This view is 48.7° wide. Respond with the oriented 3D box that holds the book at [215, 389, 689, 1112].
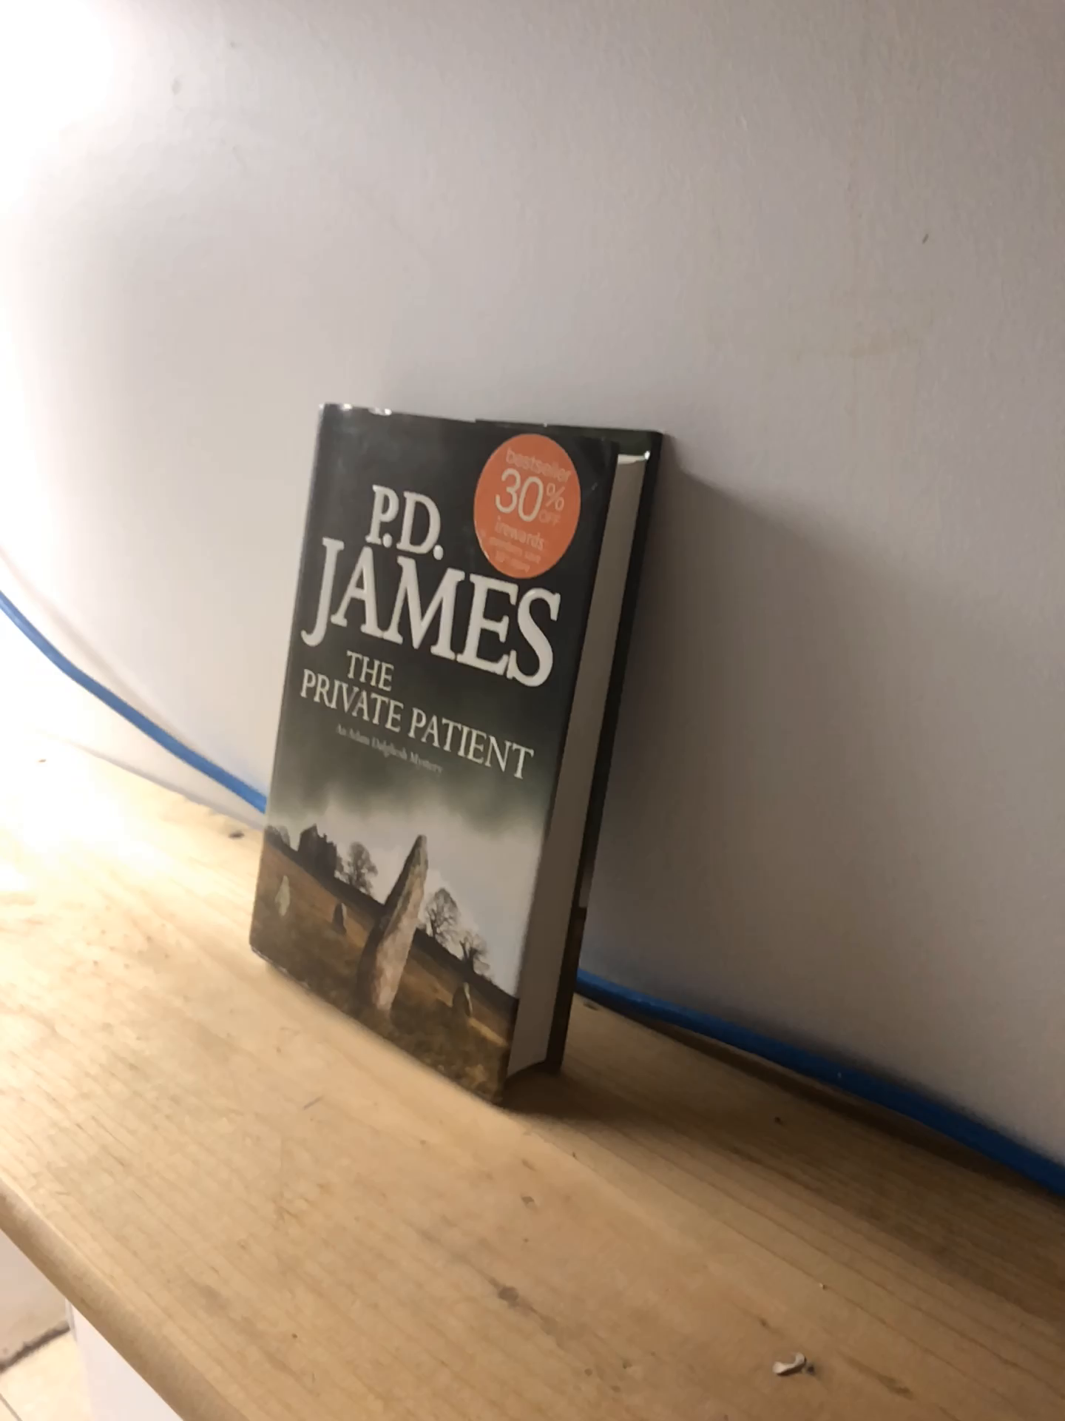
[{"bbox_3d":[-0.044,0.000,0.449,0.040,0.230,0.181,3,10,-44],"label":"book"}]
